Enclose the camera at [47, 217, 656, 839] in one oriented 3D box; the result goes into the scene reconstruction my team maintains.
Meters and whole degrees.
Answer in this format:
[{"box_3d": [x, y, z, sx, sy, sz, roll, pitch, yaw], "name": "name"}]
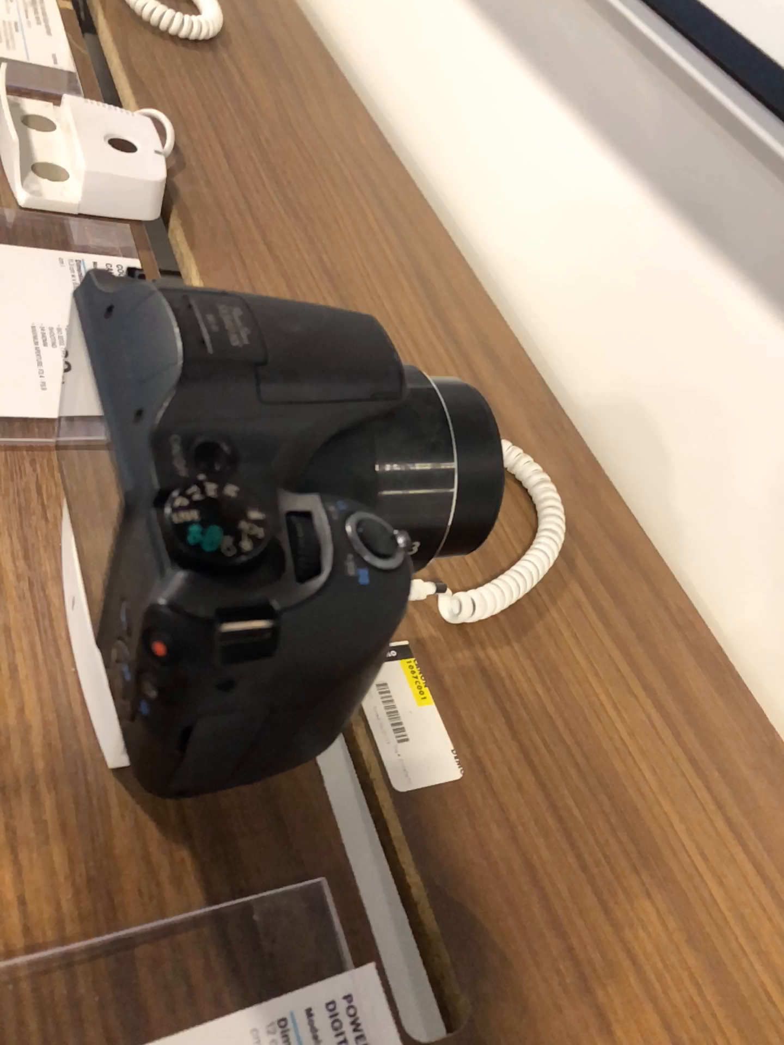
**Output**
[{"box_3d": [-0.021, -0.004, 0.226, 0.101, 0.080, 0.120, -5, 52, -32], "name": "camera"}]
